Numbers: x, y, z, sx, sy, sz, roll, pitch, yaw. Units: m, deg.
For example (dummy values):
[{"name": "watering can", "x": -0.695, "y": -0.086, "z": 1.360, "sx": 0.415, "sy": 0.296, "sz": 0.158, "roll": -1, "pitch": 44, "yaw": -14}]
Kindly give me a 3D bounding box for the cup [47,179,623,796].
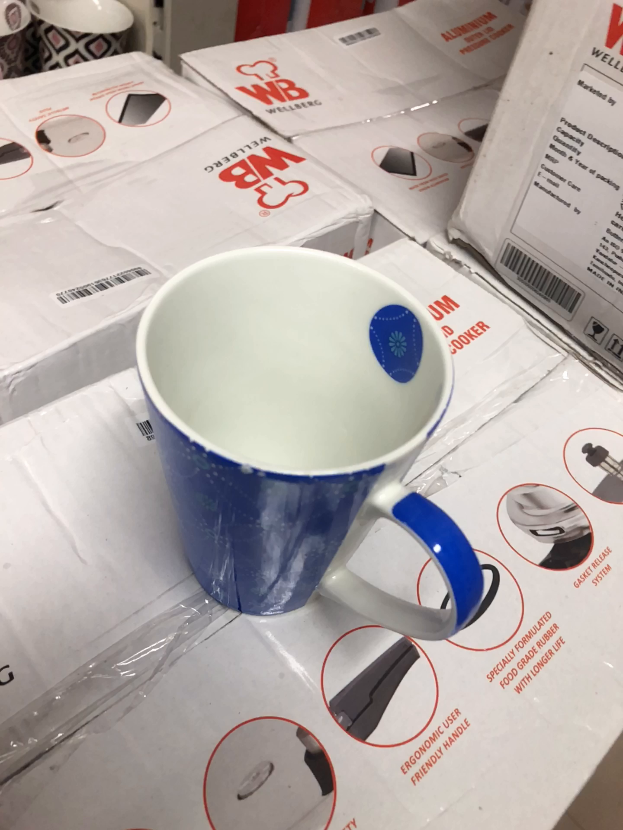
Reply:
[{"name": "cup", "x": 0.001, "y": 0.017, "z": 0.192, "sx": 0.080, "sy": 0.089, "sz": 0.120, "roll": -32, "pitch": 66, "yaw": -32}]
